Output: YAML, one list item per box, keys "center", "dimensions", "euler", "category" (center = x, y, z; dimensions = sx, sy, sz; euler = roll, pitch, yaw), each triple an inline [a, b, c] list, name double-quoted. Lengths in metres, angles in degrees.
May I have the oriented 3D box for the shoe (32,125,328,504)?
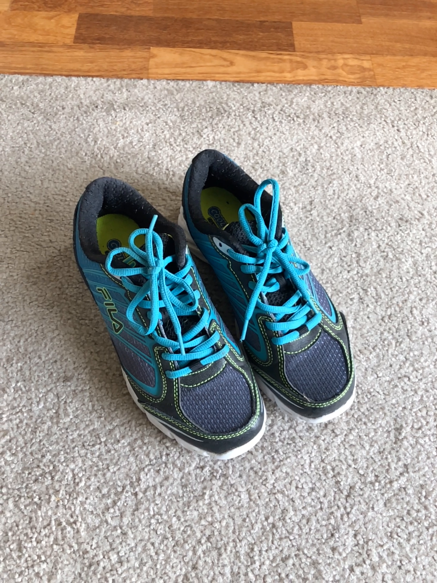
- center: [-0.045, 0.012, 0.398]
  dimensions: [0.105, 0.119, 0.272]
  euler: [-22, 65, -18]
  category: "shoe"

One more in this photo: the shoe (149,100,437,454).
- center: [0.047, -0.018, 0.424]
  dimensions: [0.102, 0.119, 0.275]
  euler: [-24, 66, -16]
  category: "shoe"
